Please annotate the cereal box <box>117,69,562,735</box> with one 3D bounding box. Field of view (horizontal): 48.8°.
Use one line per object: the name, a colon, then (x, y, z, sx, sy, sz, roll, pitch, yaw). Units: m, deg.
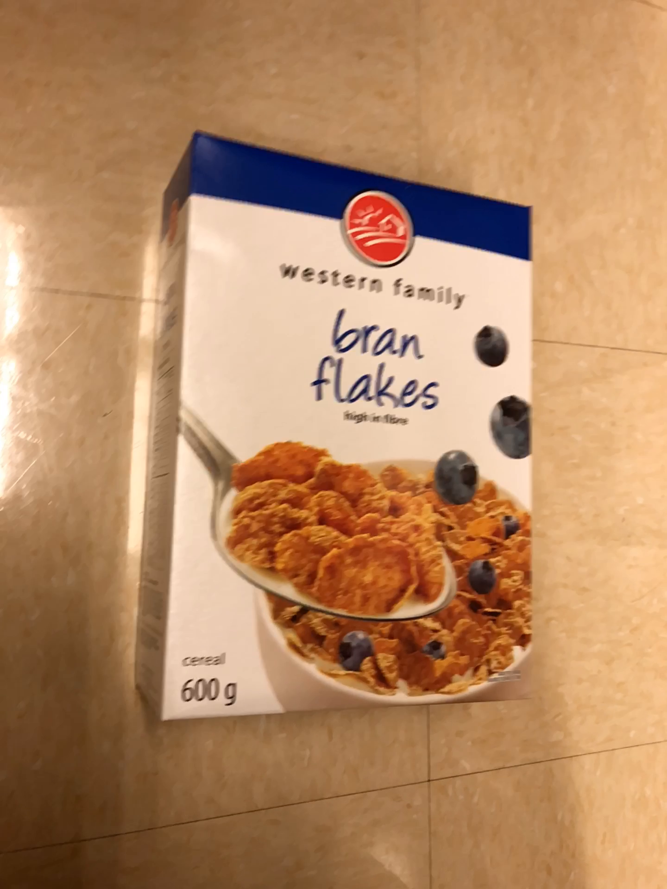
cereal box: (0.008, -0.015, 0.410, 0.221, 0.090, 0.300, 4, 84, -22)
